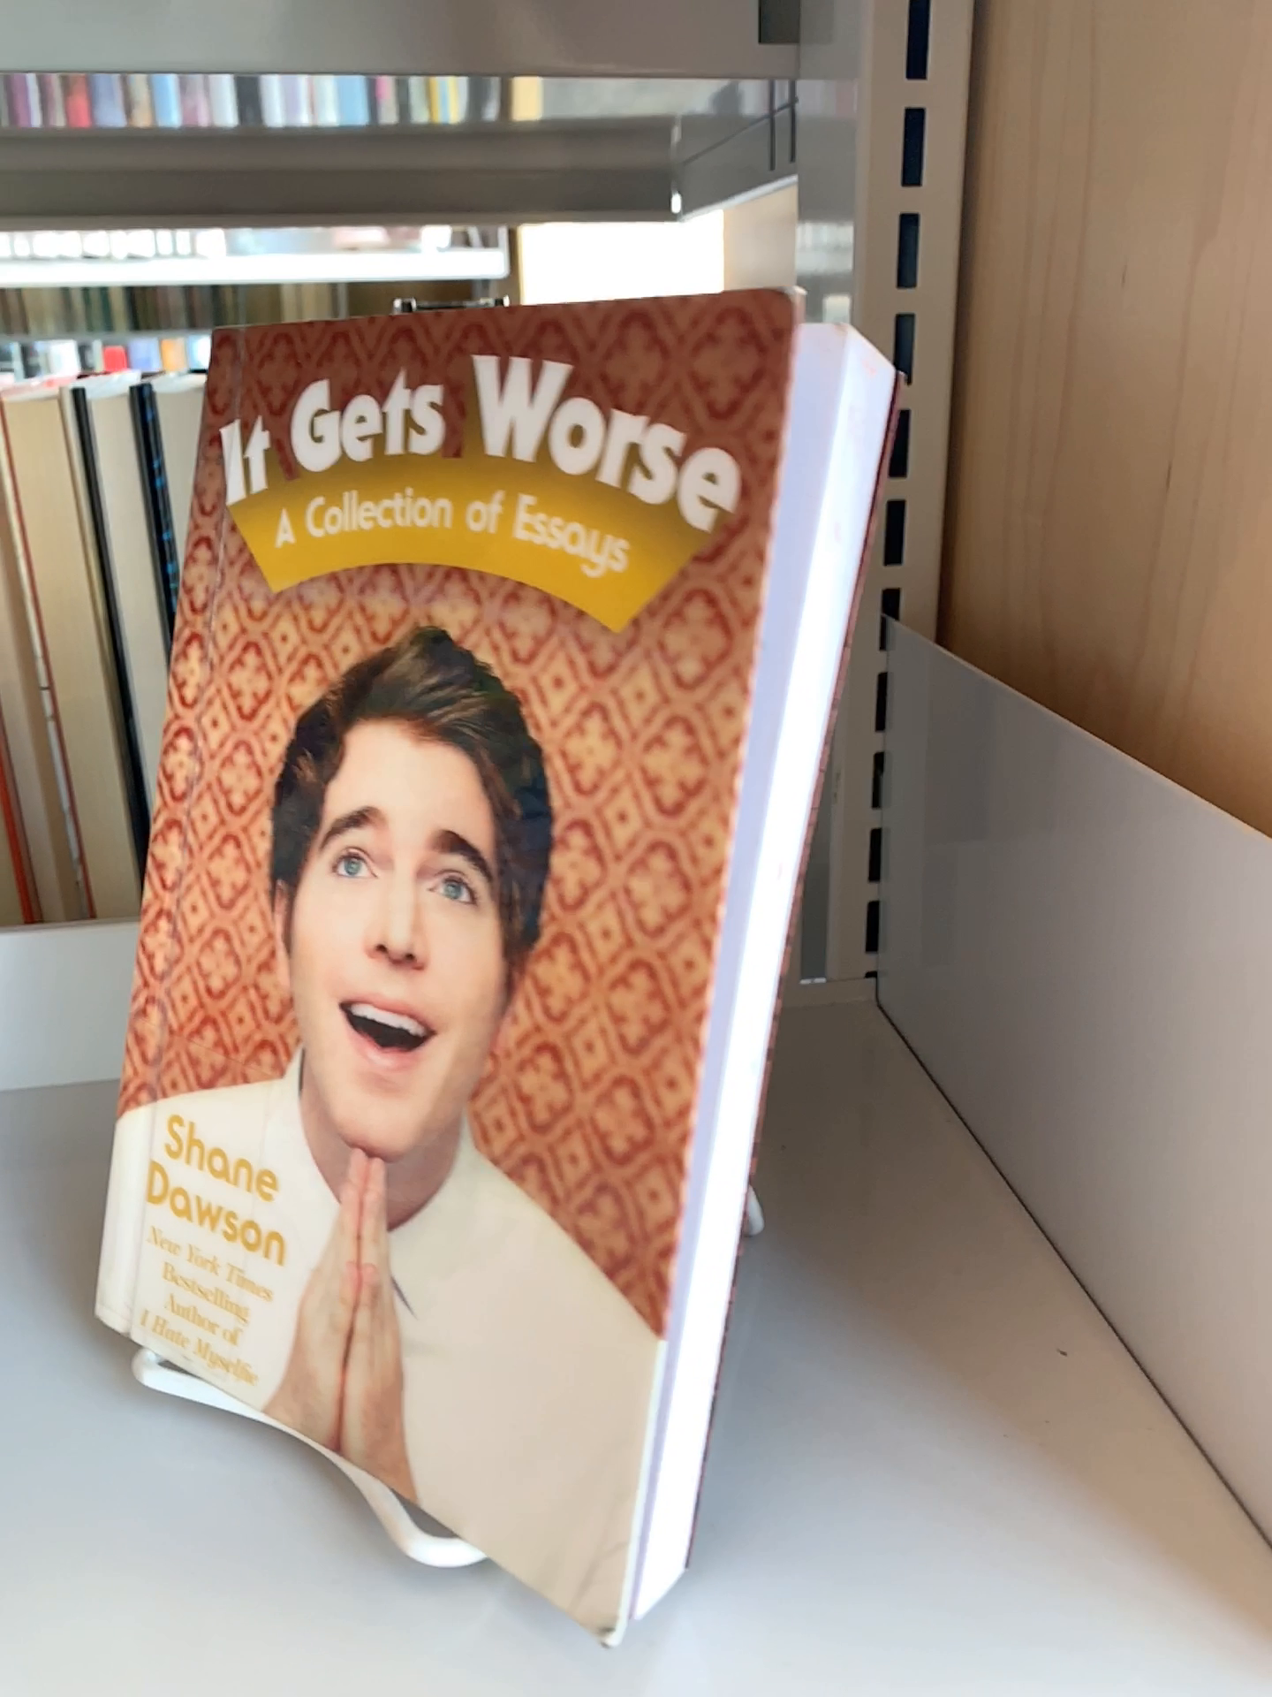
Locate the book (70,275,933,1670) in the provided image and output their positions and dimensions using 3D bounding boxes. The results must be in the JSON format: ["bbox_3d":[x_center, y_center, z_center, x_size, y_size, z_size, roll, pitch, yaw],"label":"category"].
[{"bbox_3d":[-0.038,0.011,0.243,0.149,0.210,0.030,13,10,31],"label":"book"}]
